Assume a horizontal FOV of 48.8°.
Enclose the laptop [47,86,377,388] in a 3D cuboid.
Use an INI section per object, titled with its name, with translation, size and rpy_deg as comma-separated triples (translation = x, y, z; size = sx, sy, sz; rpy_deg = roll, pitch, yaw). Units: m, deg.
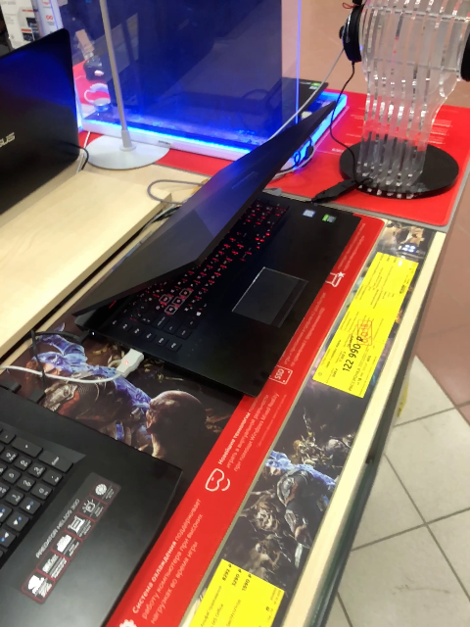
[laptop]
translation = -0.001, -0.137, 0.718
size = 0.258, 0.166, 0.396
rpy_deg = 19, 48, 20
